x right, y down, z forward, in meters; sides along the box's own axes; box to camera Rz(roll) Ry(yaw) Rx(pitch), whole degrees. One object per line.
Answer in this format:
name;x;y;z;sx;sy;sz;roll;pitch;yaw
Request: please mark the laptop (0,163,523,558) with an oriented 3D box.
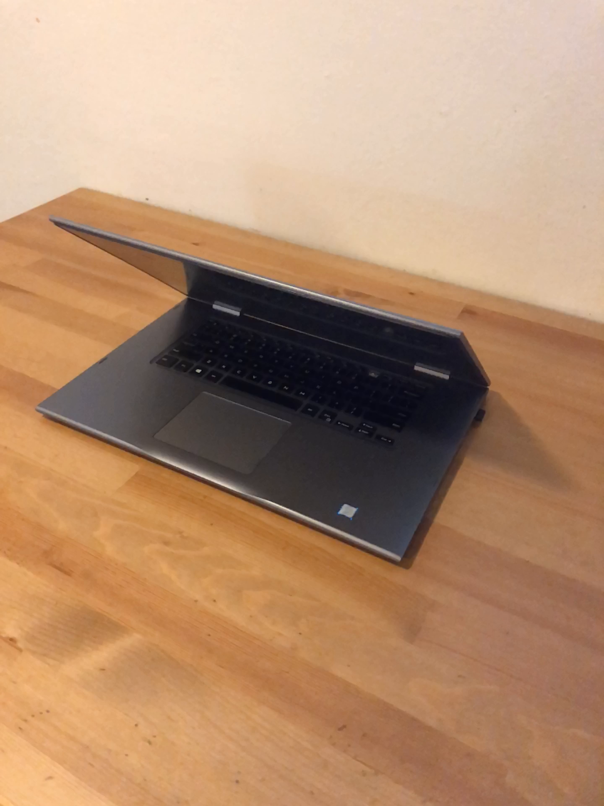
laptop;-0.033;-0.069;0.609;0.375;0.165;0.248;19;41;21
